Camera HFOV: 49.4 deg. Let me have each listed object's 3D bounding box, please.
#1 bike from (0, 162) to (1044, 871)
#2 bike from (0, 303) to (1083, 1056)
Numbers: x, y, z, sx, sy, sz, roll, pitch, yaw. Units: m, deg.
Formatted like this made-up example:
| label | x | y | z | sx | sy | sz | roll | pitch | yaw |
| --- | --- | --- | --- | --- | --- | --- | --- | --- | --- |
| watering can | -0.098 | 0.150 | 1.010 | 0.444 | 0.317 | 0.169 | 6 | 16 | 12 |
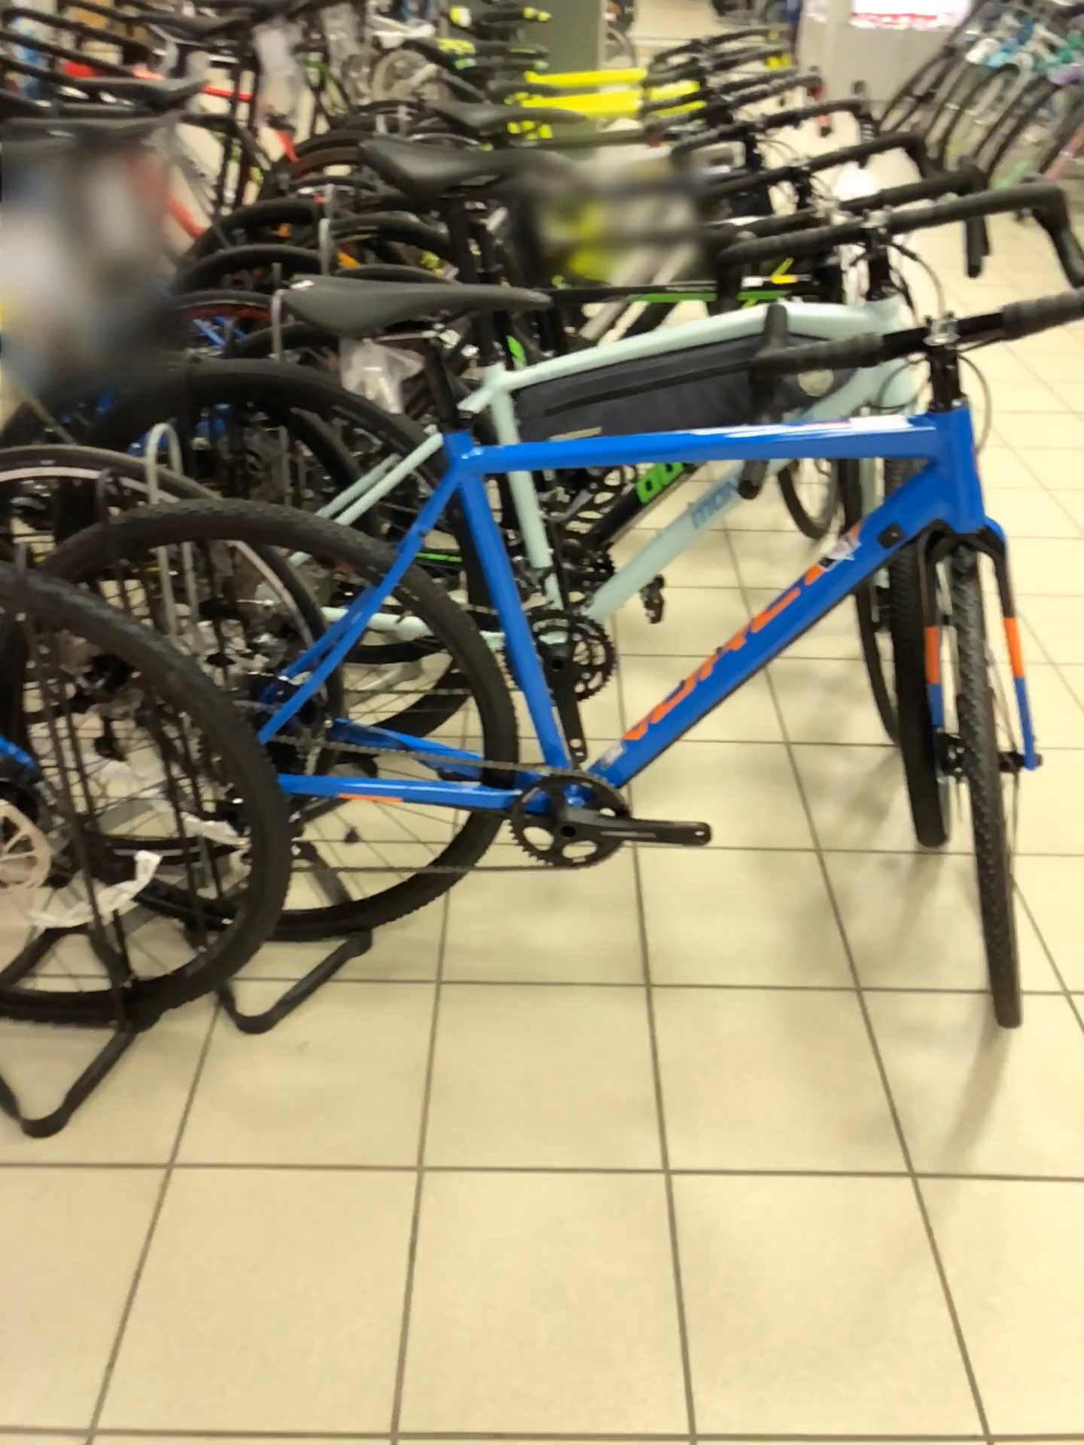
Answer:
| label | x | y | z | sx | sy | sz | roll | pitch | yaw |
| --- | --- | --- | --- | --- | --- | --- | --- | --- | --- |
| bike | -0.002 | -0.384 | 1.953 | 1.421 | 0.870 | 0.619 | -5 | 34 | -12 |
| bike | 0.009 | -0.067 | 1.736 | 1.469 | 0.806 | 0.527 | -1 | 34 | -14 |
